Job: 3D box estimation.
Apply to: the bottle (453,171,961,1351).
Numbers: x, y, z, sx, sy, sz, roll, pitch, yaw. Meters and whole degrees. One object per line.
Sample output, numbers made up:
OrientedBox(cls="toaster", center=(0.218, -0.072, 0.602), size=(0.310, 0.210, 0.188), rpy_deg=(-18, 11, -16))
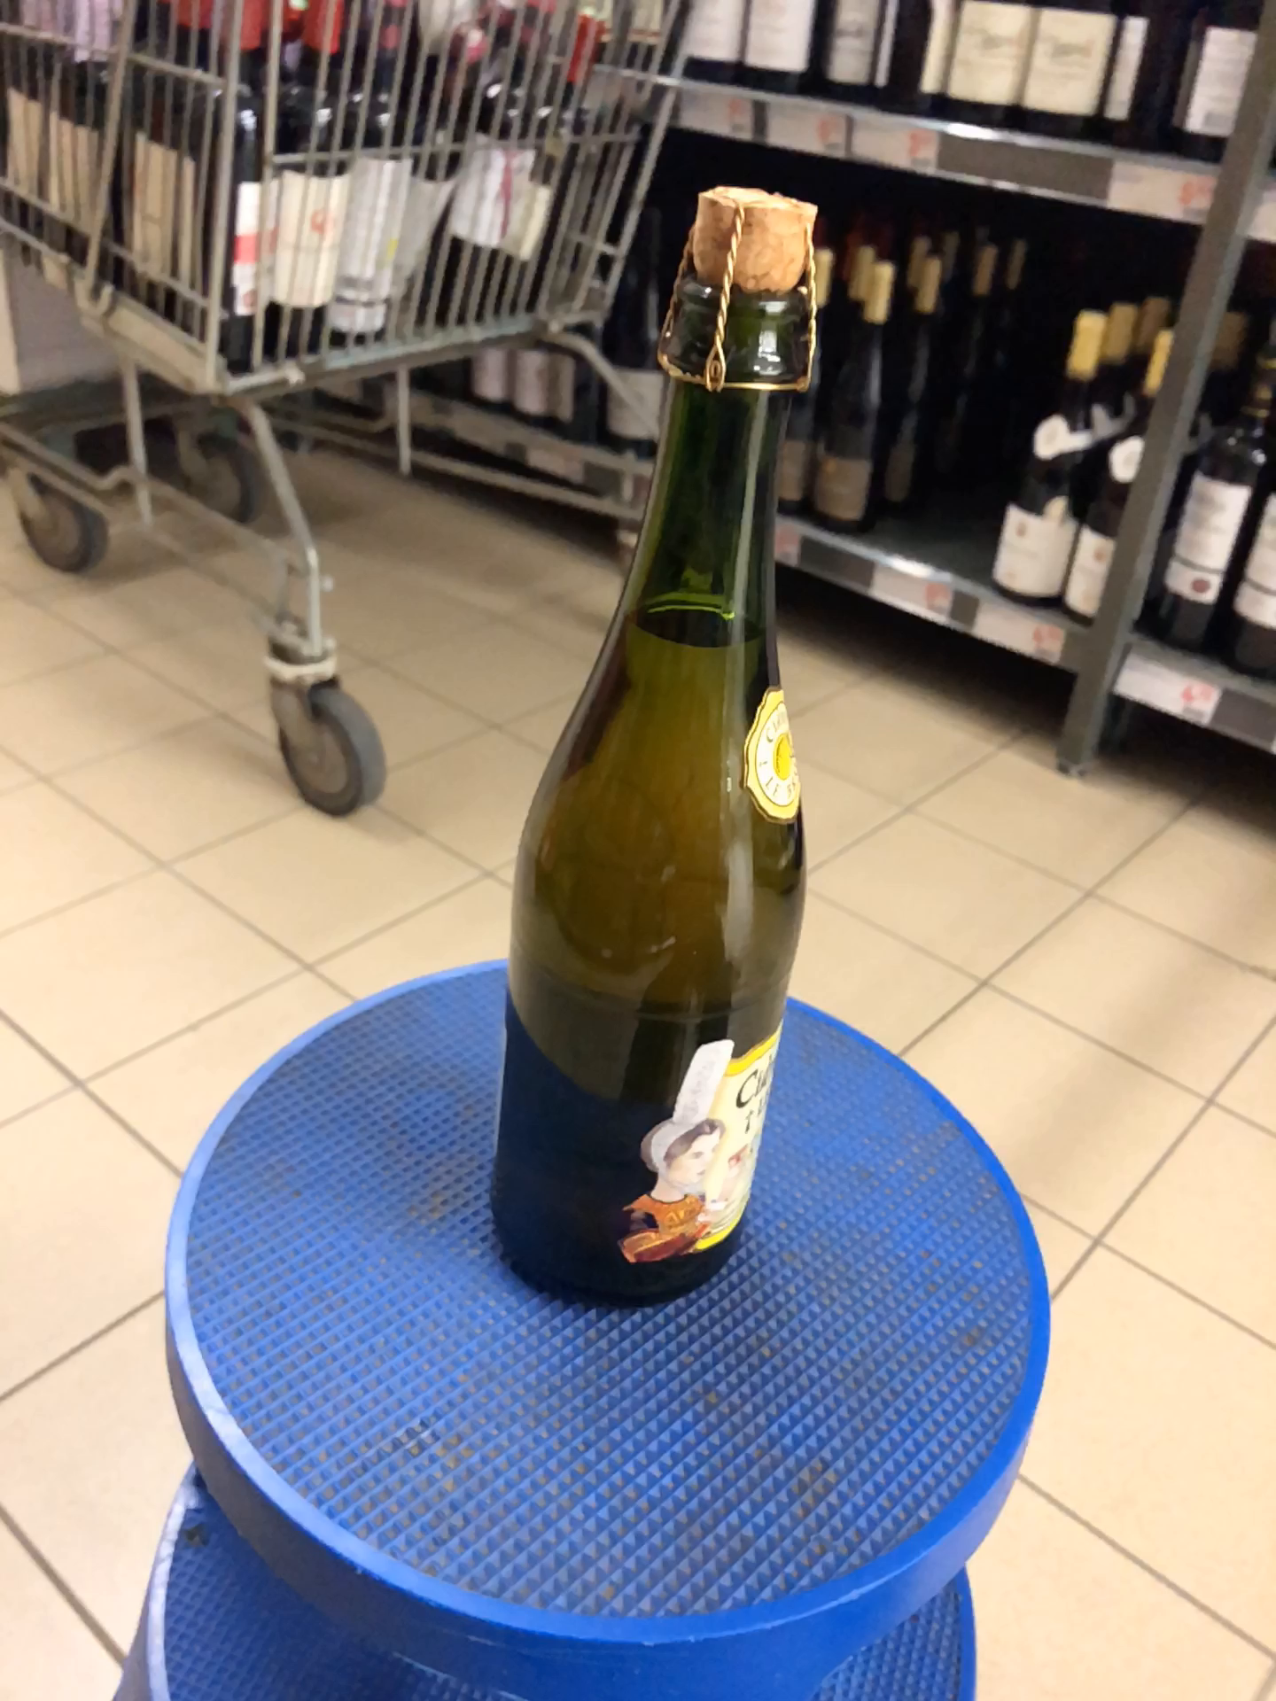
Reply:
OrientedBox(cls="bottle", center=(0.008, -0.009, 0.380), size=(0.090, 0.298, 0.091), rpy_deg=(4, 31, -3))
